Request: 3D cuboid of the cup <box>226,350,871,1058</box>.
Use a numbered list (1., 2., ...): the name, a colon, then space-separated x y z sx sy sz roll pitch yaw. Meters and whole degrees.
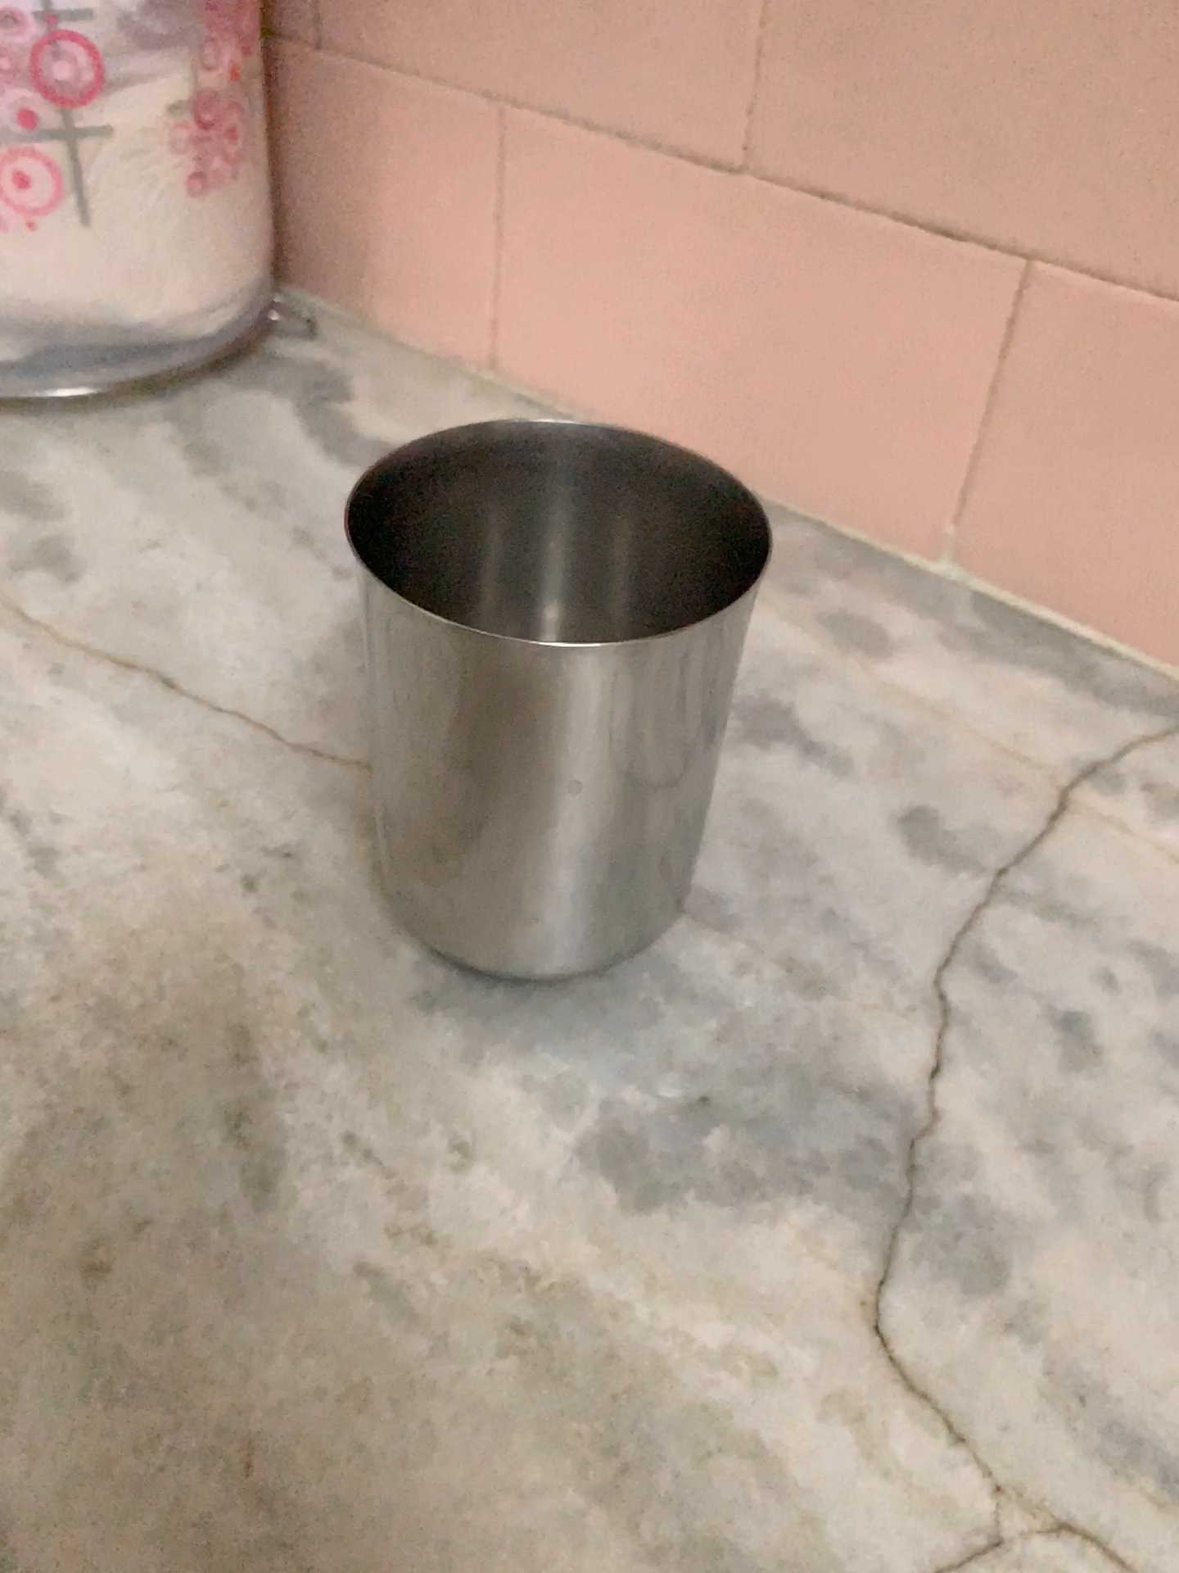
1. cup: -0.011 -0.020 0.242 0.080 0.090 0.080 3 41 -2
